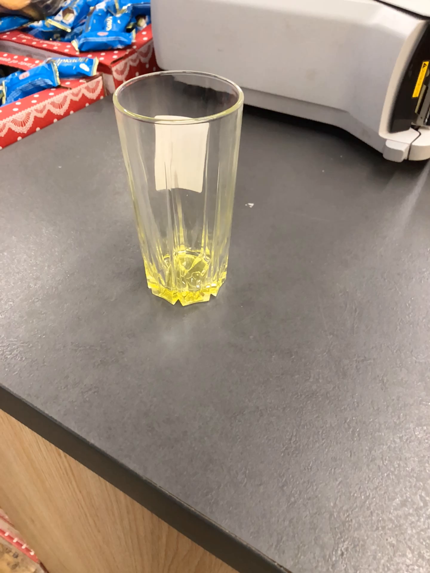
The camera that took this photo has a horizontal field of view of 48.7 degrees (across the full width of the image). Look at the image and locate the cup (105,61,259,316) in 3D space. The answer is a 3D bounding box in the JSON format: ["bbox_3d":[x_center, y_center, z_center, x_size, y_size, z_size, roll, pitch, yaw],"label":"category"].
[{"bbox_3d":[-0.021,-0.057,0.299,0.075,0.134,0.070,0,43,0],"label":"cup"}]
